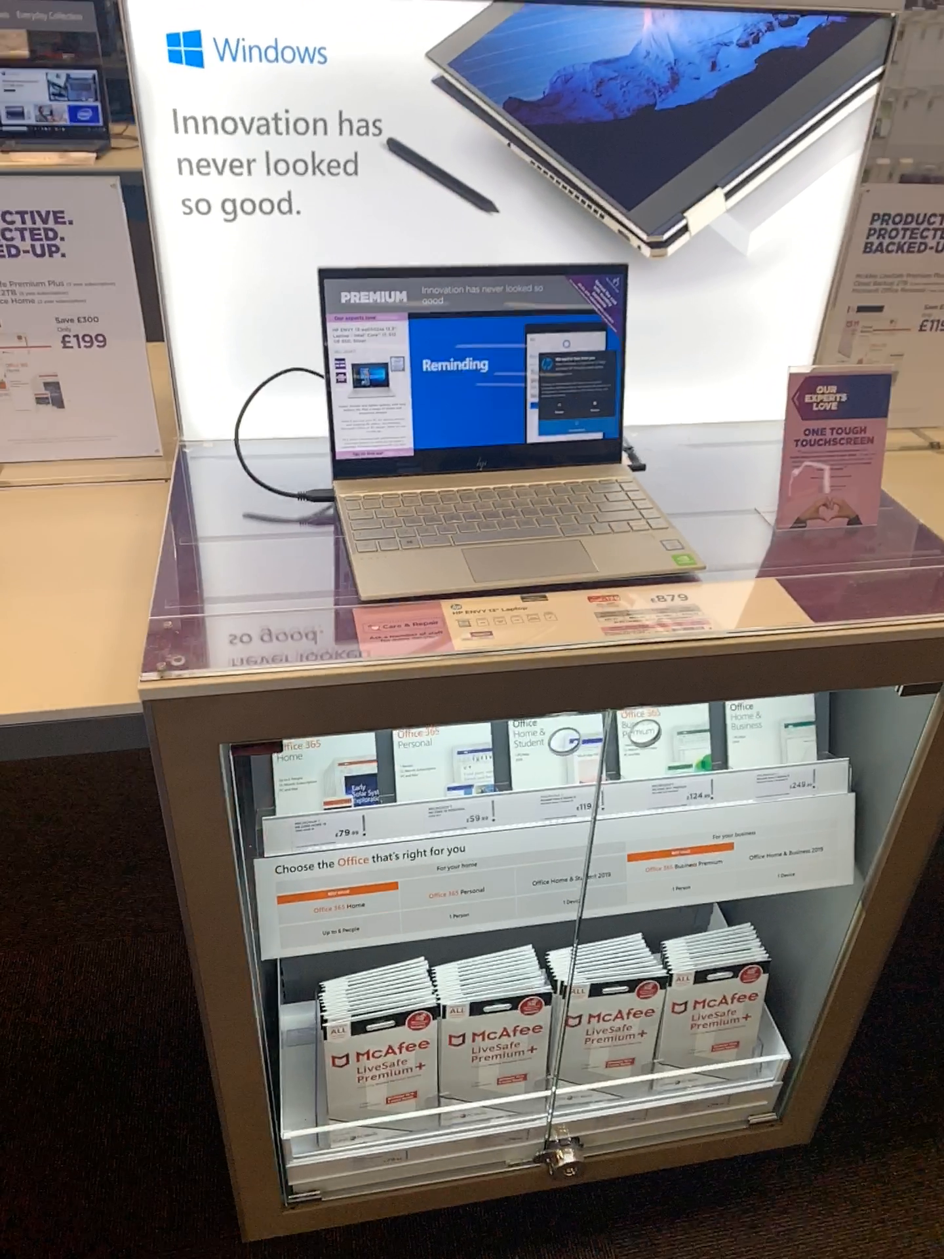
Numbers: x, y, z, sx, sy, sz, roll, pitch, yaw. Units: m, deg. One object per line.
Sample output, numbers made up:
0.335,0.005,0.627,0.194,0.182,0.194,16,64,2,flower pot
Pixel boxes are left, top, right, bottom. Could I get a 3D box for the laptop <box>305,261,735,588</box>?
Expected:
0.021,-0.195,0.858,0.295,0.181,0.262,-5,36,-12,laptop
